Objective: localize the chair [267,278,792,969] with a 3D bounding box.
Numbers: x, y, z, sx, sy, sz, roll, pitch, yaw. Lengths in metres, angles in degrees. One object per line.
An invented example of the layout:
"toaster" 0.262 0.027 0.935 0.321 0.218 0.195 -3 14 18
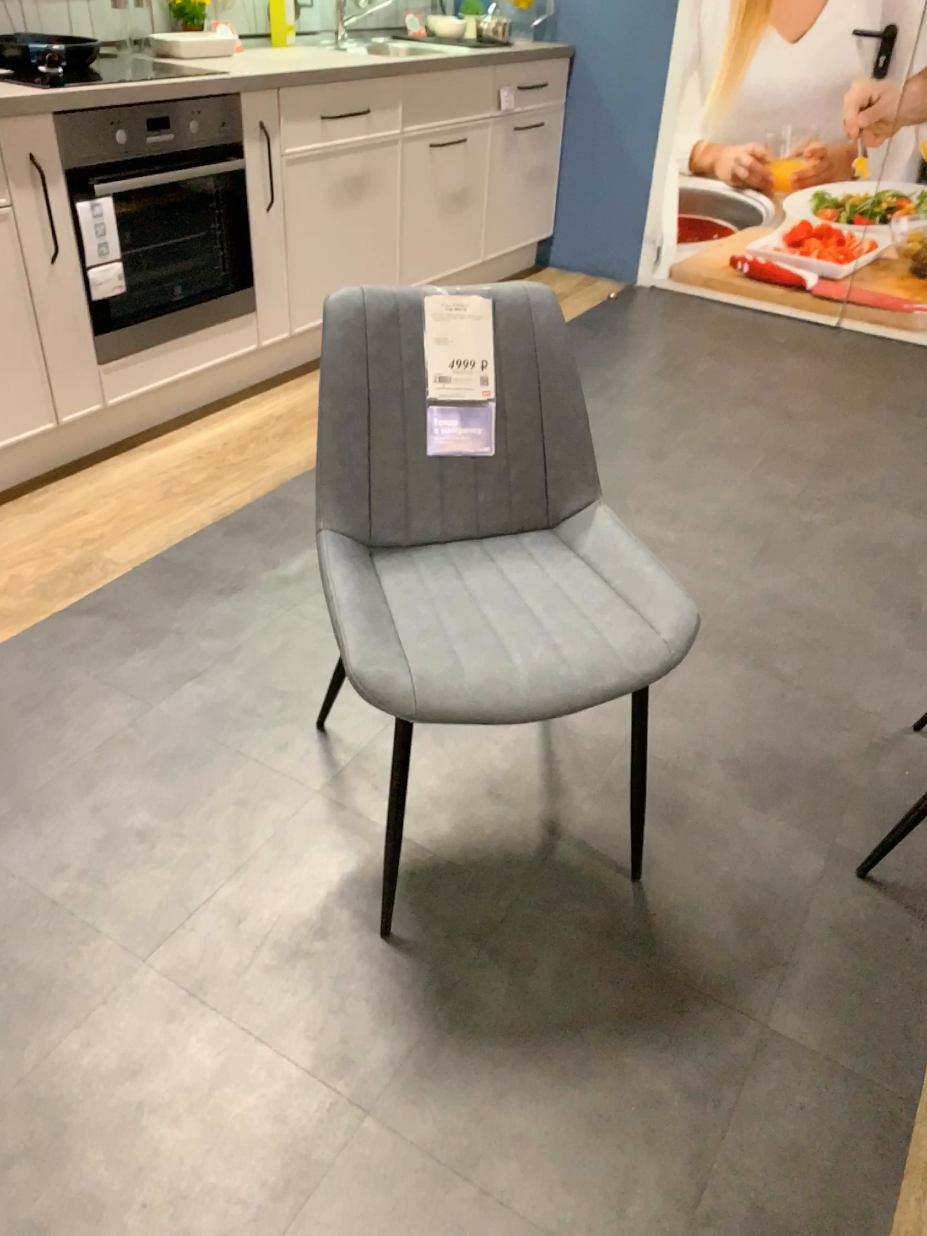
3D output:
"chair" 0.022 -0.014 1.495 0.523 0.833 0.592 -8 36 -15
